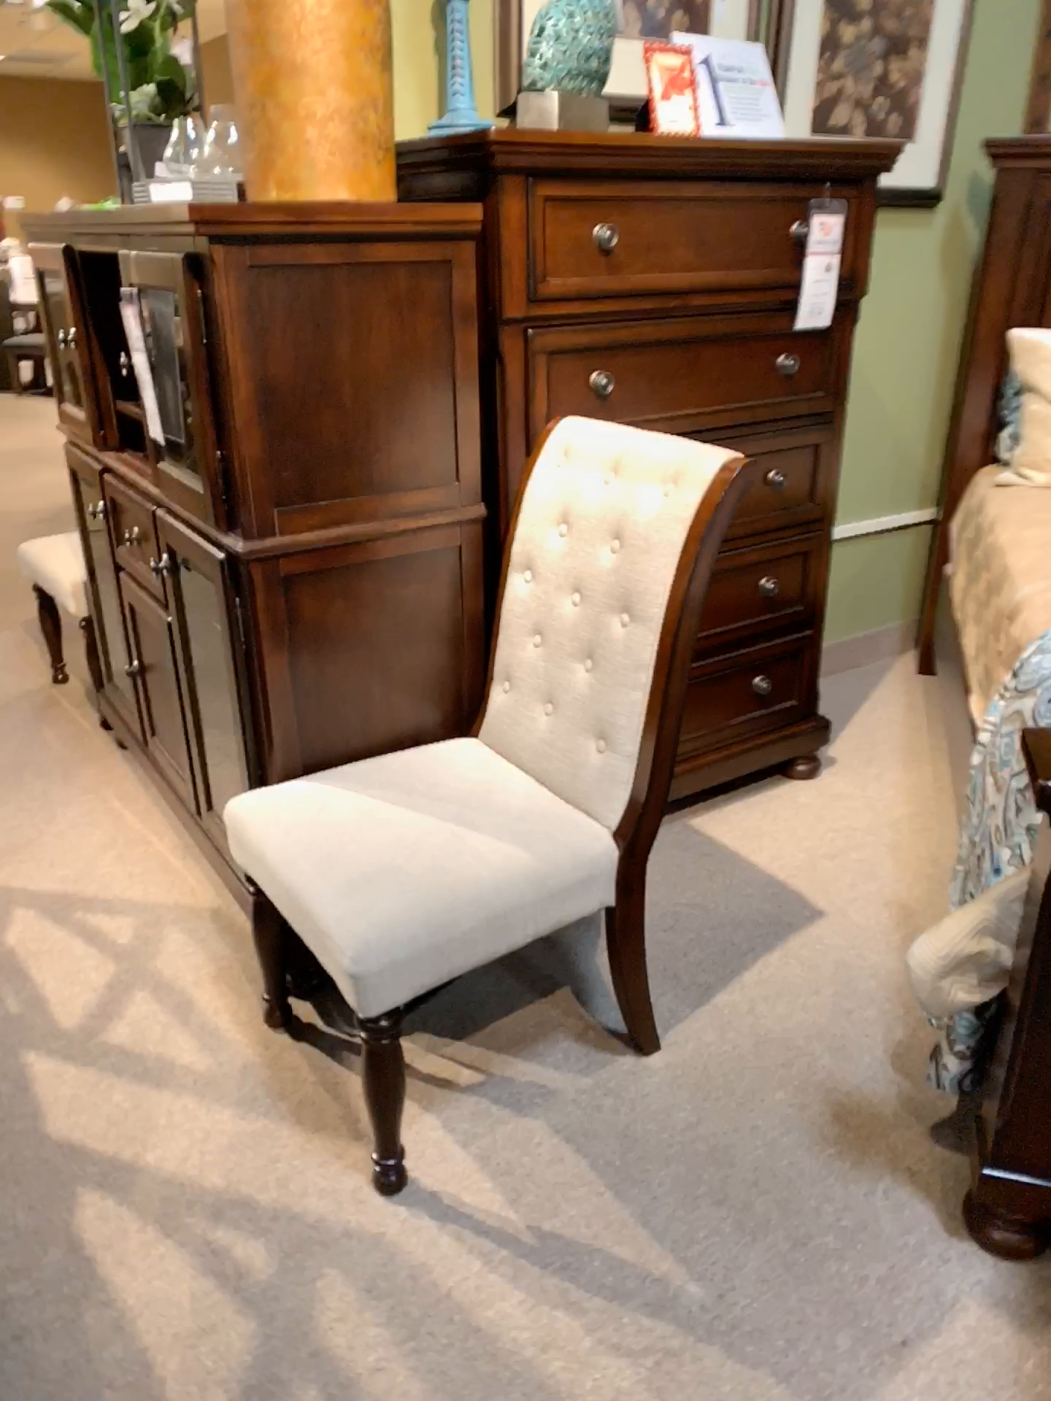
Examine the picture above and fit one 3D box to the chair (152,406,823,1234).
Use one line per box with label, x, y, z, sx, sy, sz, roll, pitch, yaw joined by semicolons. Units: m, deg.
chair;-0.065;0.099;1.643;0.718;0.949;0.586;-15;28;-31
